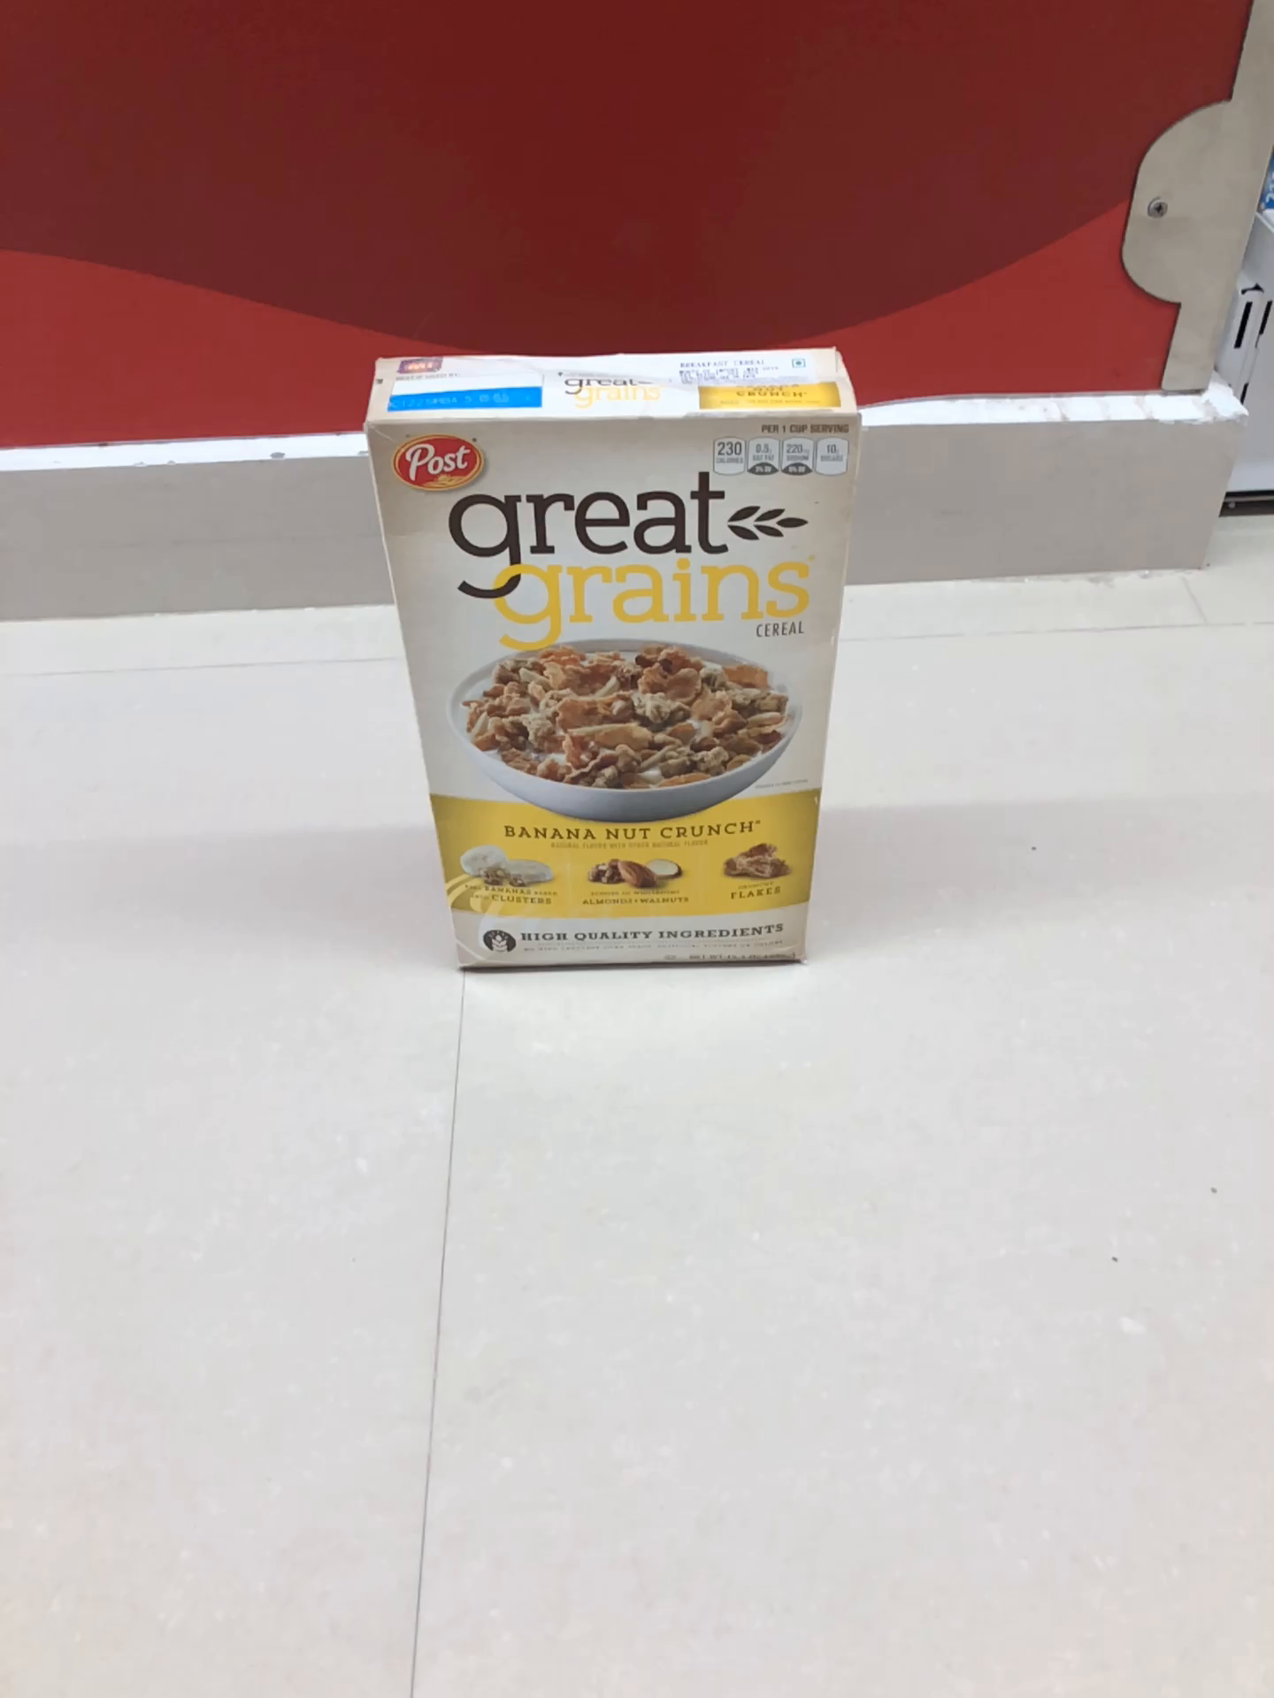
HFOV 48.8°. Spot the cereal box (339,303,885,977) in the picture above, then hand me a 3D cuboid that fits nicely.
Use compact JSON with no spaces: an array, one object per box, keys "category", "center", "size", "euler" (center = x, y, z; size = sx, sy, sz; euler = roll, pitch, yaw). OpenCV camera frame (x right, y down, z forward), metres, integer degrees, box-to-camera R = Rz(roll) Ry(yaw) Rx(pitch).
[{"category":"cereal box","center":[-0.007,-0.062,0.523],"size":[0.160,0.258,0.060],"euler":[-2,44,-1]}]
